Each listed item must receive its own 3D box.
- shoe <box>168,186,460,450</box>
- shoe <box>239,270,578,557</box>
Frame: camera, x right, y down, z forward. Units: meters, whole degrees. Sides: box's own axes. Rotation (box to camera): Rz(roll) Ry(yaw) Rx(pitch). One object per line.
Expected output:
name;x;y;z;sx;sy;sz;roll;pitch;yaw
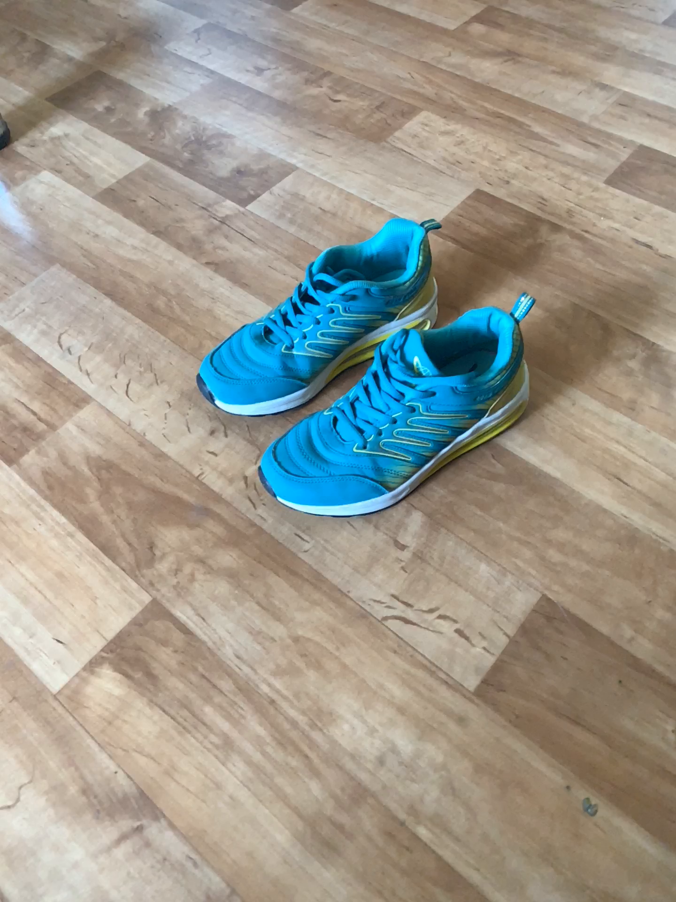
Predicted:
shoe;-0.018;-0.123;0.635;0.230;0.120;0.100;-30;64;-17
shoe;0.057;-0.031;0.575;0.240;0.120;0.100;-26;61;-14
